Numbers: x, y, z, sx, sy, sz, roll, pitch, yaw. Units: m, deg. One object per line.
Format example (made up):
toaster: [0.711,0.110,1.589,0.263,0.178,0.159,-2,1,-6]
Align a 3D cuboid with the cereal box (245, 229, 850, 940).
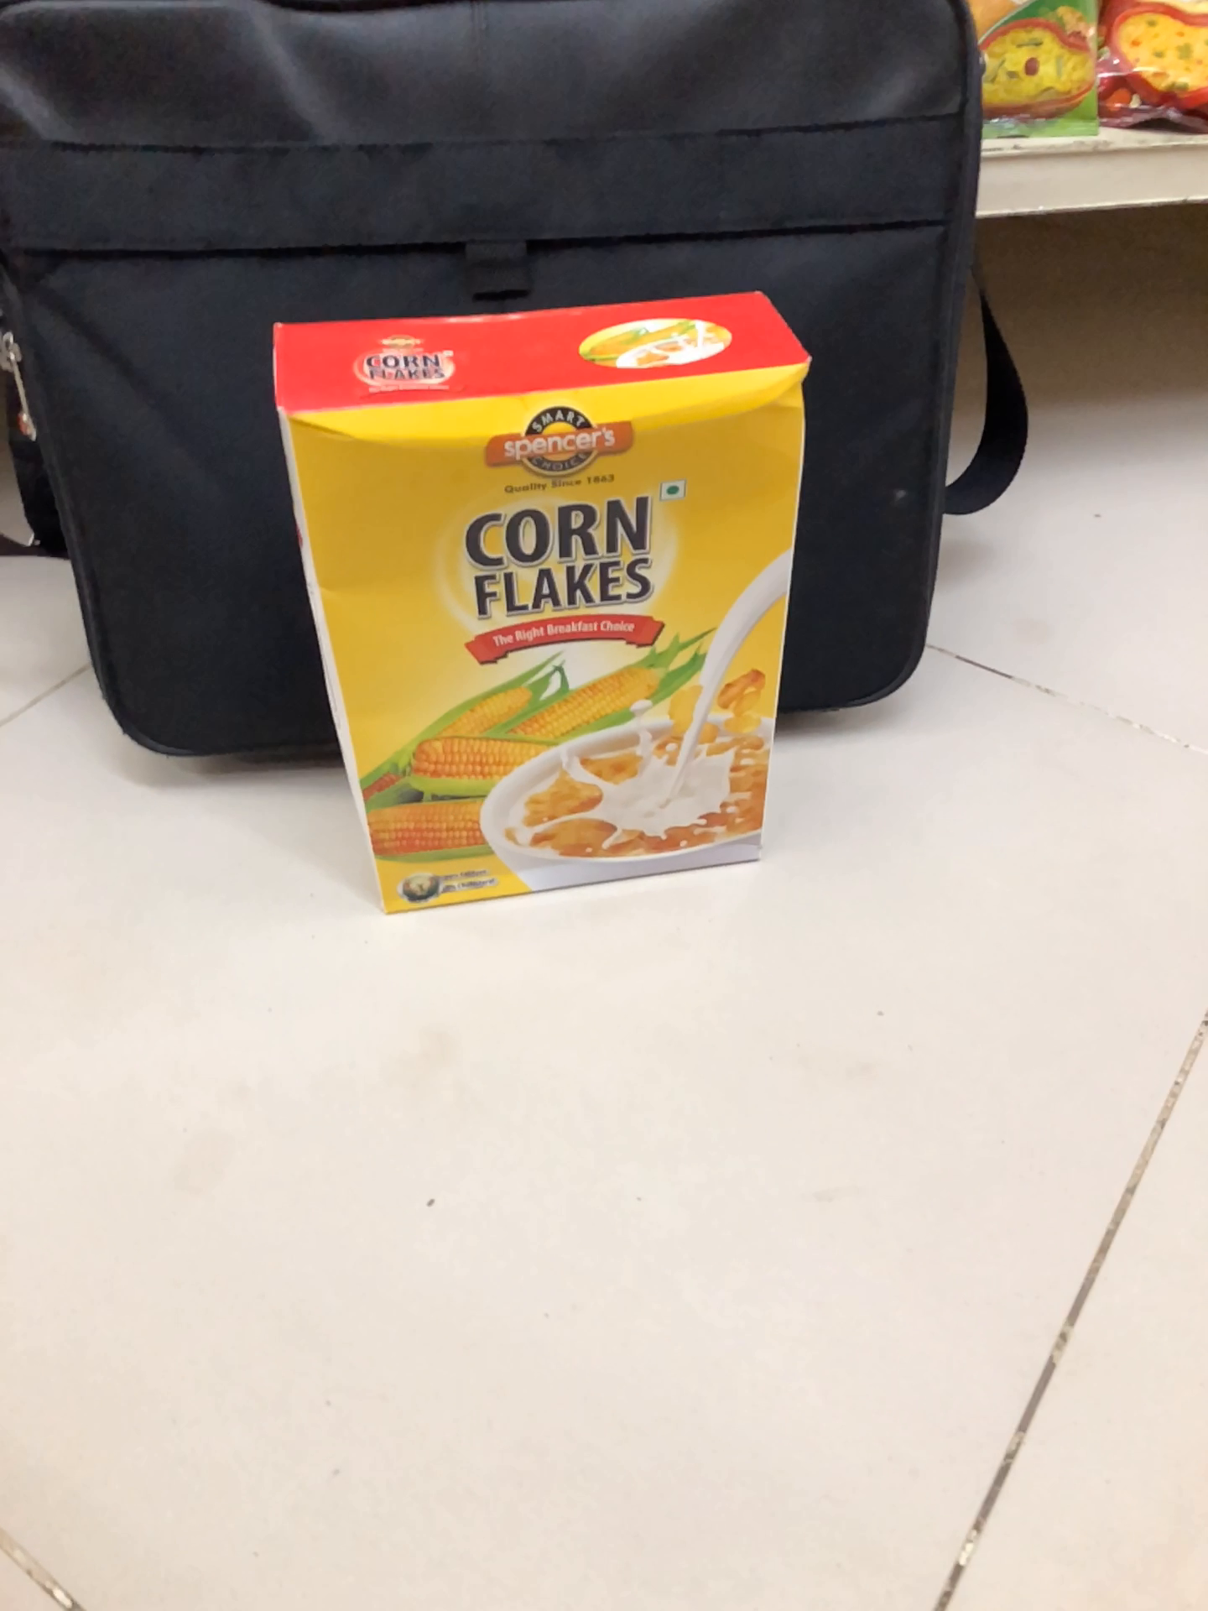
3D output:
cereal box: [-0.017,-0.072,0.533,0.190,0.268,0.070,-8,45,-6]
